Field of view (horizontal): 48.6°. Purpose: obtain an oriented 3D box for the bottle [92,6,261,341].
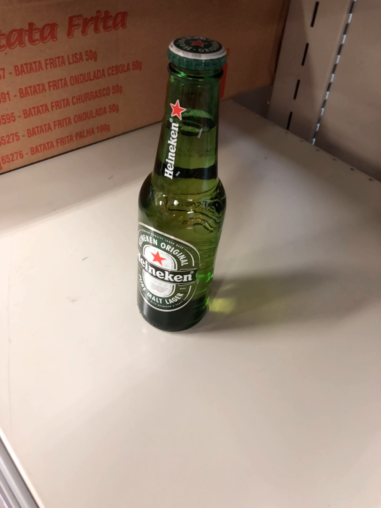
[{"bbox_3d":[-0.008,-0.033,0.267,0.060,0.199,0.060,2,46,-2],"label":"bottle"}]
